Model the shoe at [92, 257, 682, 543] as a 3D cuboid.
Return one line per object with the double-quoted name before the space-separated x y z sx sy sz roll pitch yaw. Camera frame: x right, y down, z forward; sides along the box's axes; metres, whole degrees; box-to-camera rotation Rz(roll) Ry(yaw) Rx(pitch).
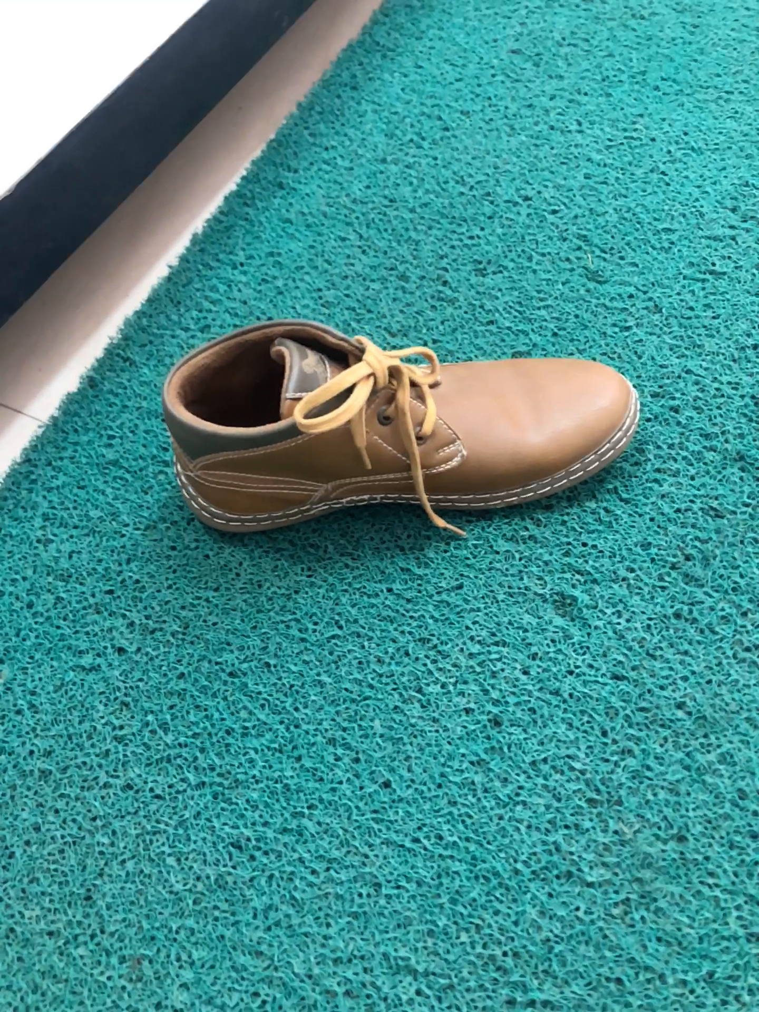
"shoe" 0.003 -0.054 0.455 0.280 0.080 0.100 -5 59 5
